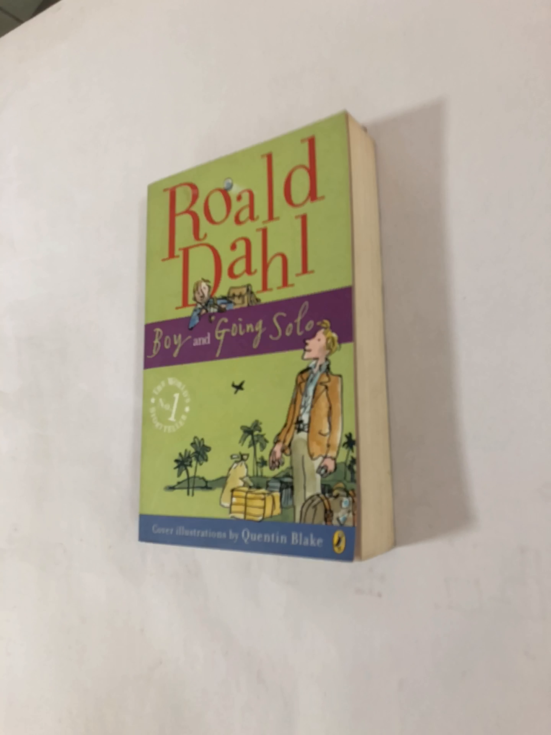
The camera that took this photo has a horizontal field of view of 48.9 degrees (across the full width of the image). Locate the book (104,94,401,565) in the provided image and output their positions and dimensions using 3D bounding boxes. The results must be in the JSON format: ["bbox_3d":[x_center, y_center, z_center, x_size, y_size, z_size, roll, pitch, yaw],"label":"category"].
[{"bbox_3d":[-0.018,-0.012,0.294,0.141,0.036,0.193,-7,79,32],"label":"book"}]
